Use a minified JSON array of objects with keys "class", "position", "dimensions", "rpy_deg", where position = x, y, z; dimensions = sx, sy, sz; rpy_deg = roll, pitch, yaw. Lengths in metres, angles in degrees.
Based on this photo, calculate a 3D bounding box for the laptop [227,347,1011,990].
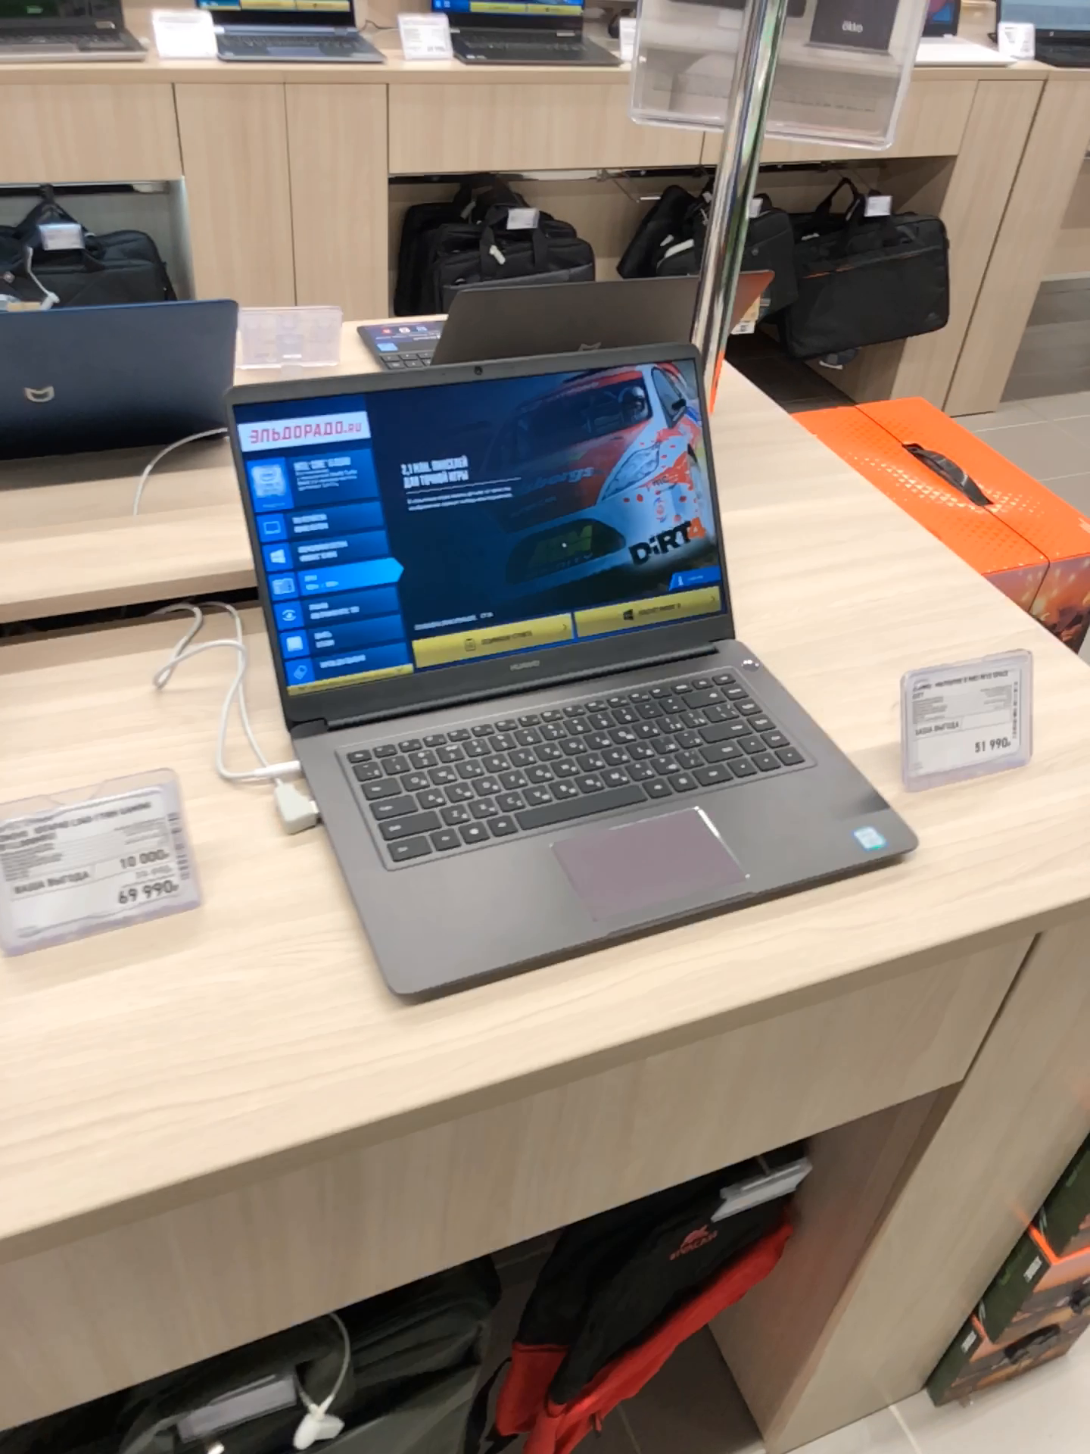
[{"class":"laptop","position":[0.017,-0.072,0.766],"dimensions":[0.344,0.180,0.359],"rpy_deg":[-12,43,-21]}]
